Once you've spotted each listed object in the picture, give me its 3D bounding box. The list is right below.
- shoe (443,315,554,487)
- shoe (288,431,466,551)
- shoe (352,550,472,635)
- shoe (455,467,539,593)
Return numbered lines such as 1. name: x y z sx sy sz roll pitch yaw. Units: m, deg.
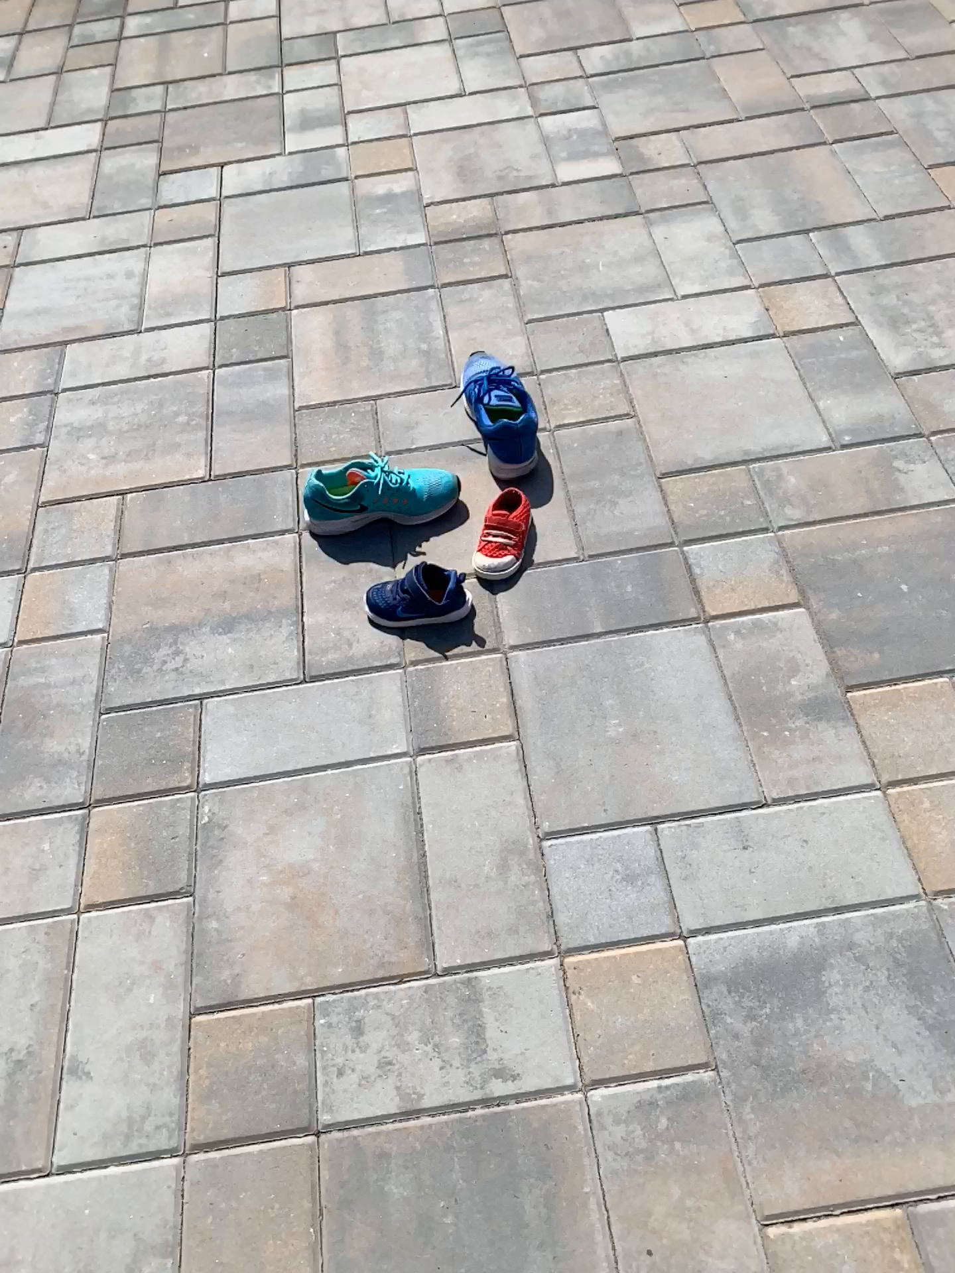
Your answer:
1. shoe: 0.031 -0.362 1.489 0.110 0.110 0.241 -13 55 -4
2. shoe: -0.145 -0.211 1.419 0.240 0.100 0.100 -8 55 -1
3. shoe: -0.086 -0.059 1.306 0.150 0.070 0.080 -3 55 3
4. shoe: 0.031 -0.150 1.367 0.080 0.080 0.150 10 56 12
